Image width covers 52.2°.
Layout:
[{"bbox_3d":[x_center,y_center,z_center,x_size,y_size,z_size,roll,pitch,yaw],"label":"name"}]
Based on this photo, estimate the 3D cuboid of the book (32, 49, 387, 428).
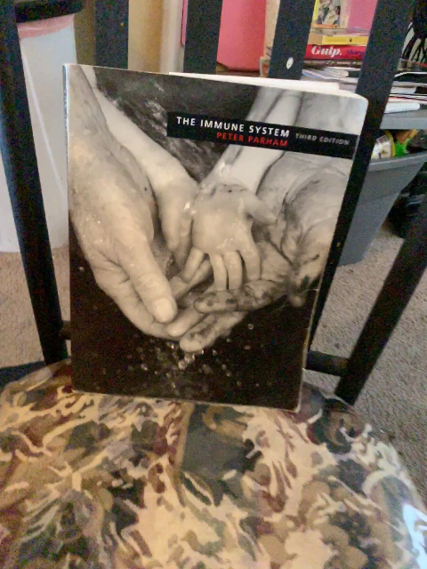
[{"bbox_3d":[-0.013,-0.020,0.338,0.220,0.269,0.040,5,23,2],"label":"book"}]
